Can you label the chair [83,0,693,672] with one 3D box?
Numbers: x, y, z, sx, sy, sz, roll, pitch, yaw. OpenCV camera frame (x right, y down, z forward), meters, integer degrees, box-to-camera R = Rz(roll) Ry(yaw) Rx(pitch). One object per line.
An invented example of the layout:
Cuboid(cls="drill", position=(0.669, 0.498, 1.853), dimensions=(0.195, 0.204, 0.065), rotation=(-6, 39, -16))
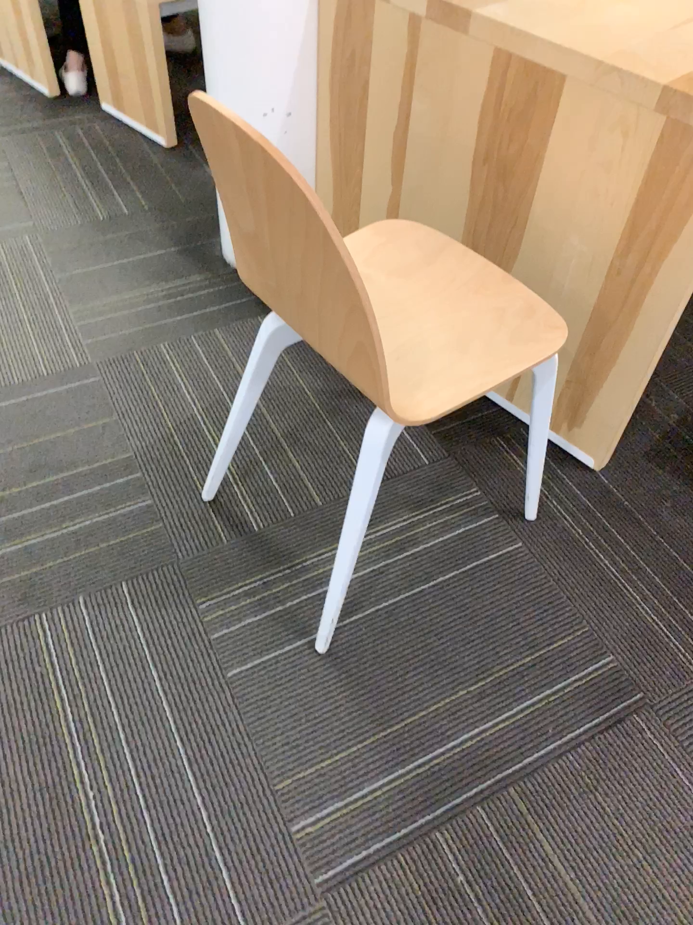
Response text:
Cuboid(cls="chair", position=(0.051, -0.197, 1.106), dimensions=(0.551, 0.816, 0.502), rotation=(-29, 57, -26))
